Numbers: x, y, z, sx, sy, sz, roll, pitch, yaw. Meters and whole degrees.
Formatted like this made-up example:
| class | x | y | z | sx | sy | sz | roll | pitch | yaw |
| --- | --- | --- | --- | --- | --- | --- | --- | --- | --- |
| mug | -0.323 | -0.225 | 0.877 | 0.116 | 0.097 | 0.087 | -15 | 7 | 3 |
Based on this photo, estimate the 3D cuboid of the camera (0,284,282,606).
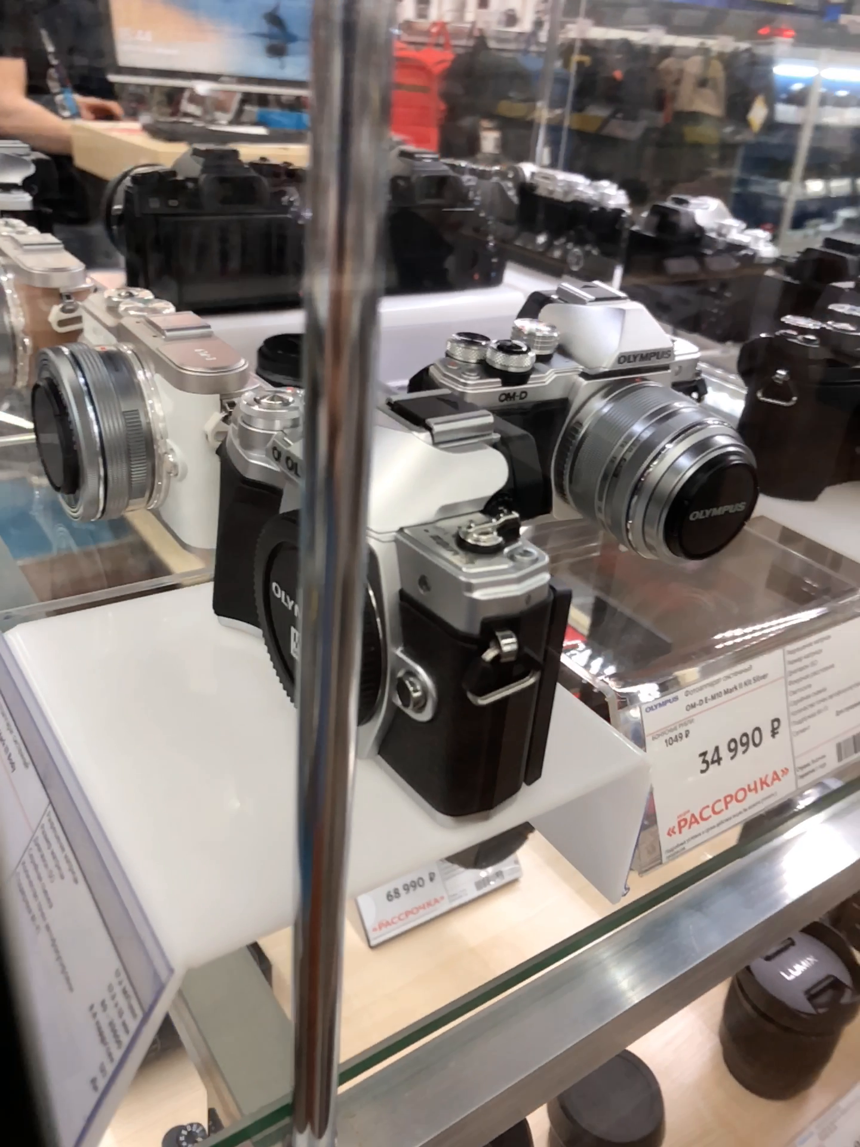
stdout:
| class | x | y | z | sx | sy | sz | roll | pitch | yaw |
| --- | --- | --- | --- | --- | --- | --- | --- | --- | --- |
| camera | -0.112 | -0.054 | 0.346 | 0.068 | 0.068 | 0.125 | -14 | 34 | -31 |

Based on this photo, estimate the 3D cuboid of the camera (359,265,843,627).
| class | x | y | z | sx | sy | sz | roll | pitch | yaw |
| --- | --- | --- | --- | --- | --- | --- | --- | --- | --- |
| camera | 0.060 | -0.058 | 0.358 | 0.137 | 0.084 | 0.101 | -17 | 35 | -35 |

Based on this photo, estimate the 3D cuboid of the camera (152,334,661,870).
| class | x | y | z | sx | sy | sz | roll | pitch | yaw |
| --- | --- | --- | --- | --- | --- | --- | --- | --- | --- |
| camera | -0.015 | -0.004 | 0.244 | 0.064 | 0.077 | 0.122 | -15 | 34 | -32 |
